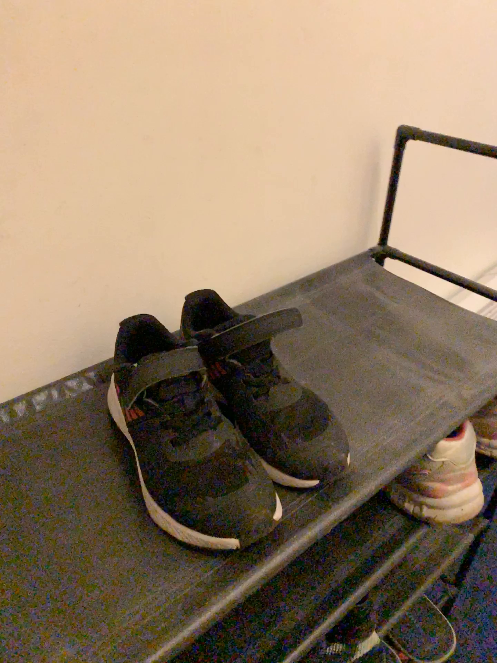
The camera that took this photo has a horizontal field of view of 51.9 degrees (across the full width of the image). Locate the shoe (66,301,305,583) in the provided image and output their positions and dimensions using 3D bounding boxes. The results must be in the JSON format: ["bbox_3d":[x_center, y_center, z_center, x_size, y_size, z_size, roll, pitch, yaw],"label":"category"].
[{"bbox_3d":[-0.057,0.065,0.391,0.090,0.079,0.201,-19,37,-28],"label":"shoe"}]

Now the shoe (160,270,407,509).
[{"bbox_3d":[0.017,0.032,0.429,0.090,0.079,0.201,-21,38,-30],"label":"shoe"}]
